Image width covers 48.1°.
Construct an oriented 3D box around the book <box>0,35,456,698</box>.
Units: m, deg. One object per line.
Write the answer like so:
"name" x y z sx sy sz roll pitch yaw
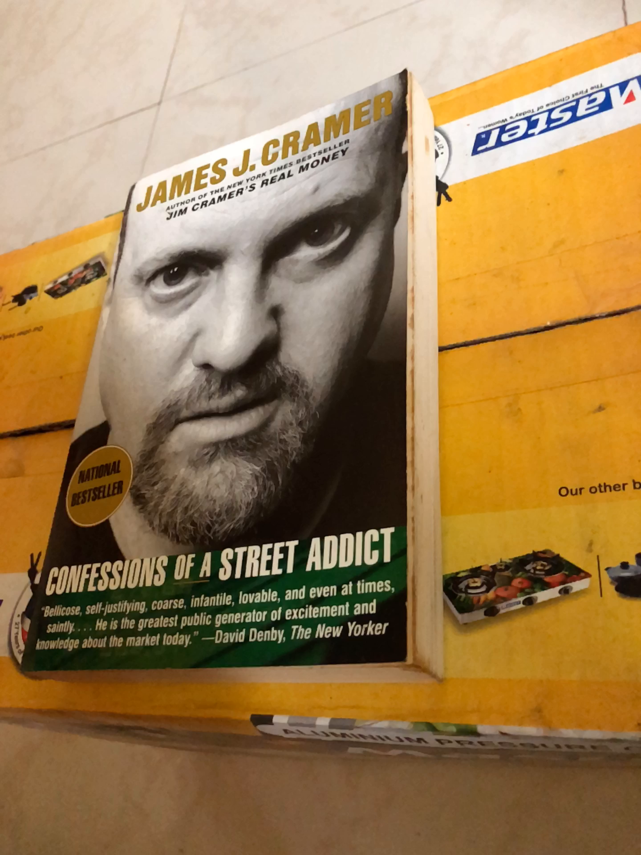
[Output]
"book" -0.027 -0.027 0.258 0.140 0.030 0.230 -11 59 26
